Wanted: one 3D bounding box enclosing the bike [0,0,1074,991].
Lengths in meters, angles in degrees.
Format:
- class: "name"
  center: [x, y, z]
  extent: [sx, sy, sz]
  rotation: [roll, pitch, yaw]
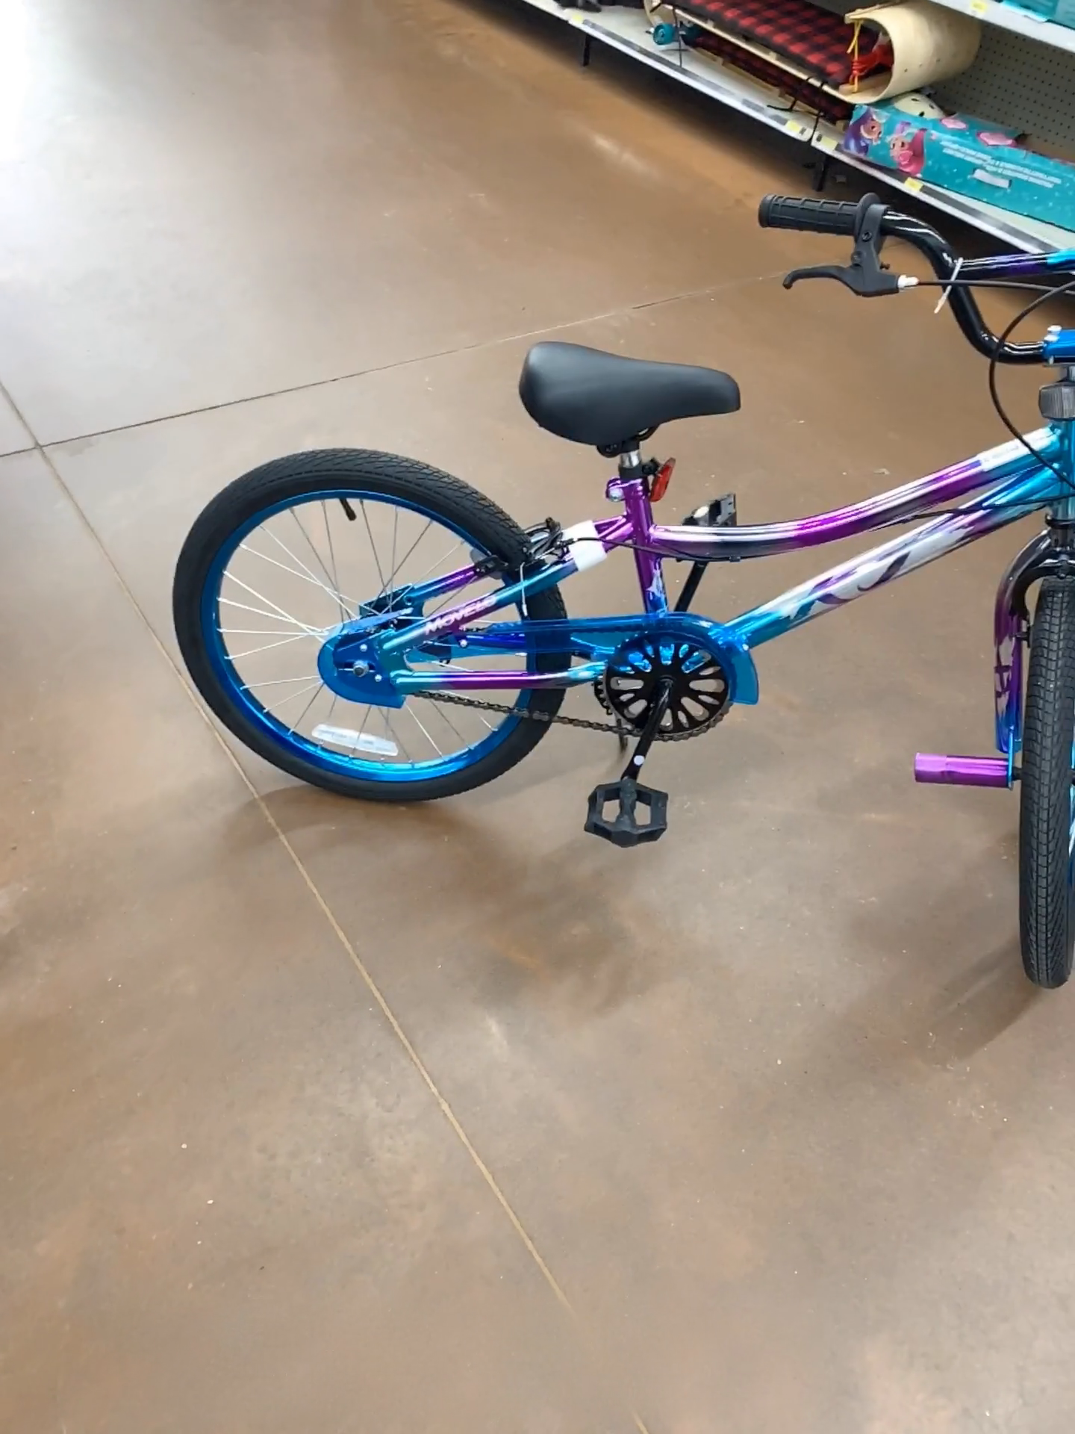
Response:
- class: "bike"
  center: [0.050, -0.278, 1.203]
  extent: [0.933, 0.931, 0.580]
  rotation: [11, 45, 3]
